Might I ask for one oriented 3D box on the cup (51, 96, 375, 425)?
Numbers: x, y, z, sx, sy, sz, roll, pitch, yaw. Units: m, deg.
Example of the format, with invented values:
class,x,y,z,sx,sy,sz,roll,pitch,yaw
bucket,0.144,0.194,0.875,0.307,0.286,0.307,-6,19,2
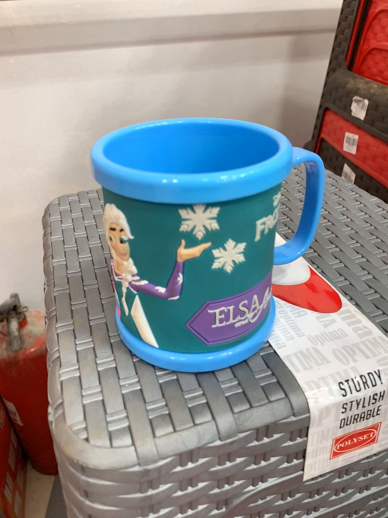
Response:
class,x,y,z,sx,sy,sz,roll,pitch,yaw
cup,0.010,-0.010,0.189,0.107,0.098,0.078,-26,39,-32
